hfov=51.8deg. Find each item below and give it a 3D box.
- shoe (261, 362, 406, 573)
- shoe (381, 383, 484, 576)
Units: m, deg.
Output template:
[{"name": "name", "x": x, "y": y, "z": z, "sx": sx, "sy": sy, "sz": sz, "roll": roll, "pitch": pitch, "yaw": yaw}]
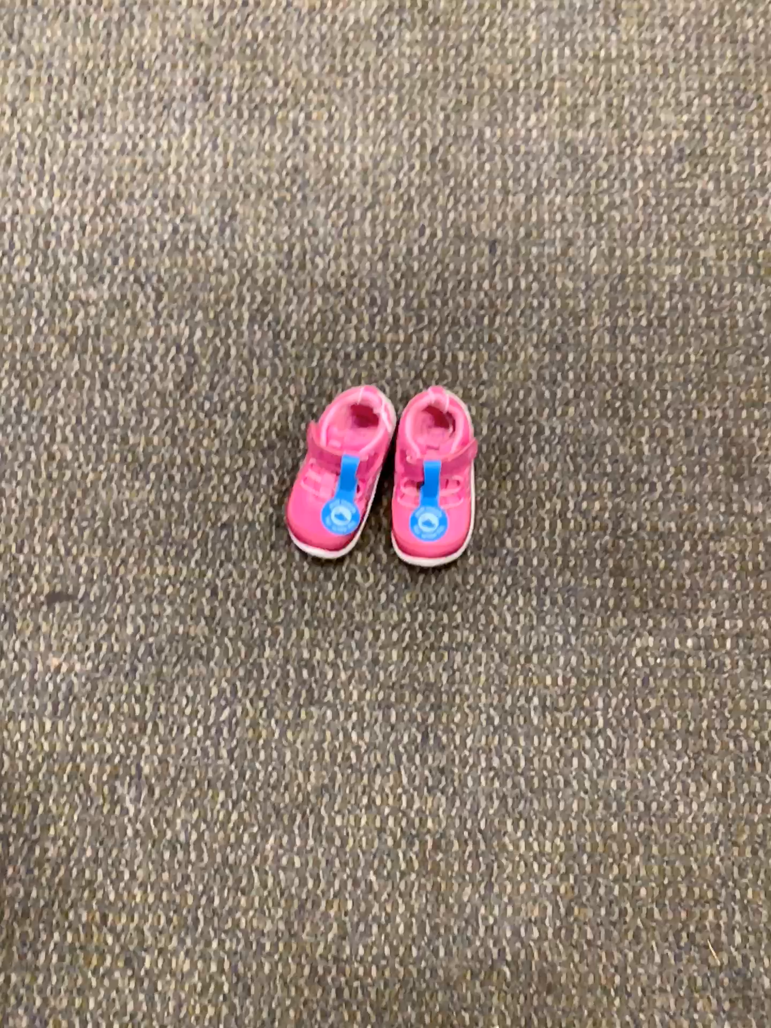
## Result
[{"name": "shoe", "x": -0.036, "y": -0.034, "z": 0.593, "sx": 0.070, "sy": 0.040, "sz": 0.140, "roll": 15, "pitch": 82, "yaw": 3}, {"name": "shoe", "x": 0.036, "y": -0.026, "z": 0.612, "sx": 0.070, "sy": 0.040, "sz": 0.140, "roll": 3, "pitch": 82, "yaw": 2}]
